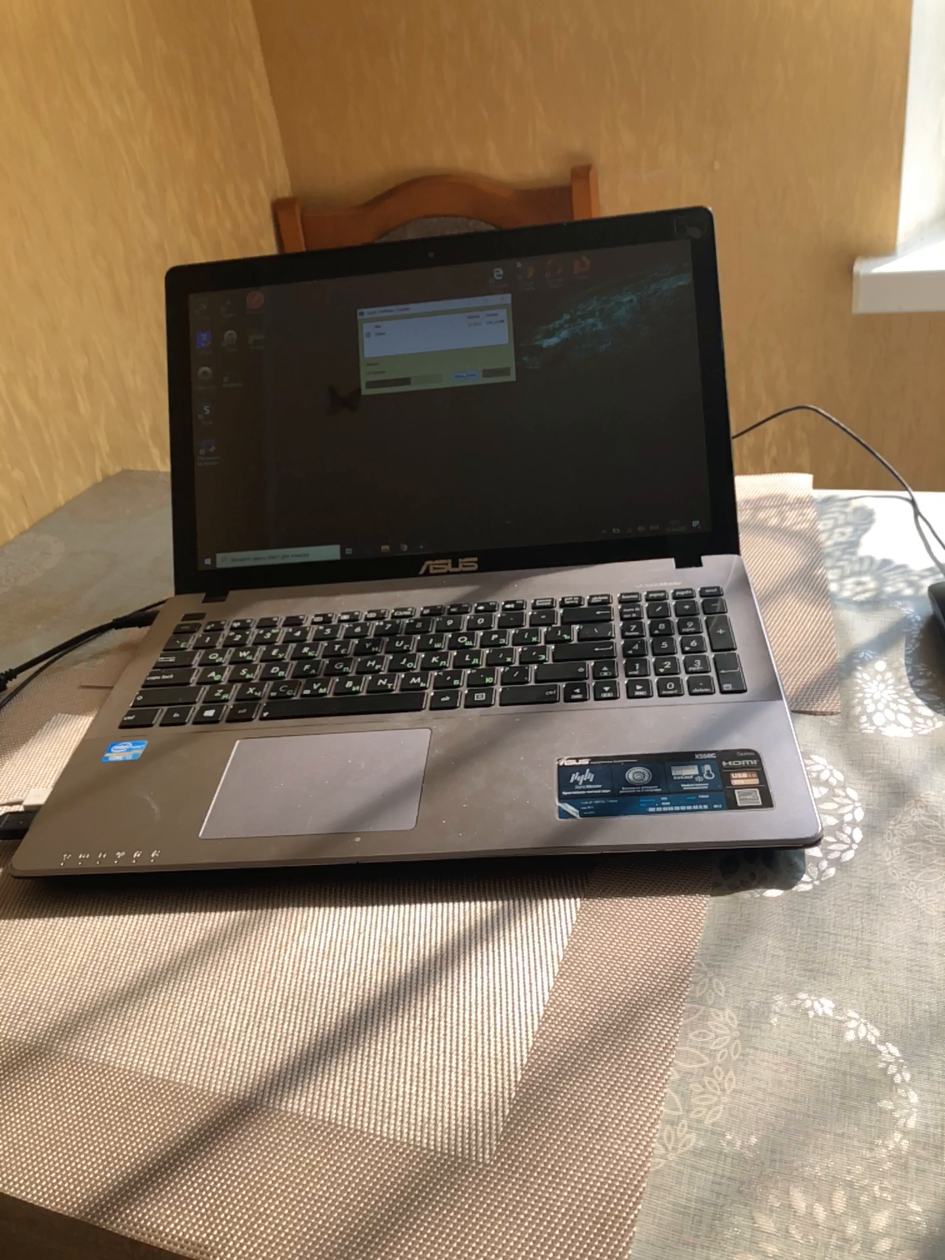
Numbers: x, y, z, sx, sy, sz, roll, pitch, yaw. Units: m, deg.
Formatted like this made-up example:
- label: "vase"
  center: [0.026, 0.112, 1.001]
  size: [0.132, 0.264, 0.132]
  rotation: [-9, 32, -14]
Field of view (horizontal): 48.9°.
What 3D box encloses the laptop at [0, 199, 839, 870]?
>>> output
- label: "laptop"
  center: [-0.033, -0.086, 0.596]
  size: [0.378, 0.183, 0.399]
  rotation: [-4, 33, 8]
